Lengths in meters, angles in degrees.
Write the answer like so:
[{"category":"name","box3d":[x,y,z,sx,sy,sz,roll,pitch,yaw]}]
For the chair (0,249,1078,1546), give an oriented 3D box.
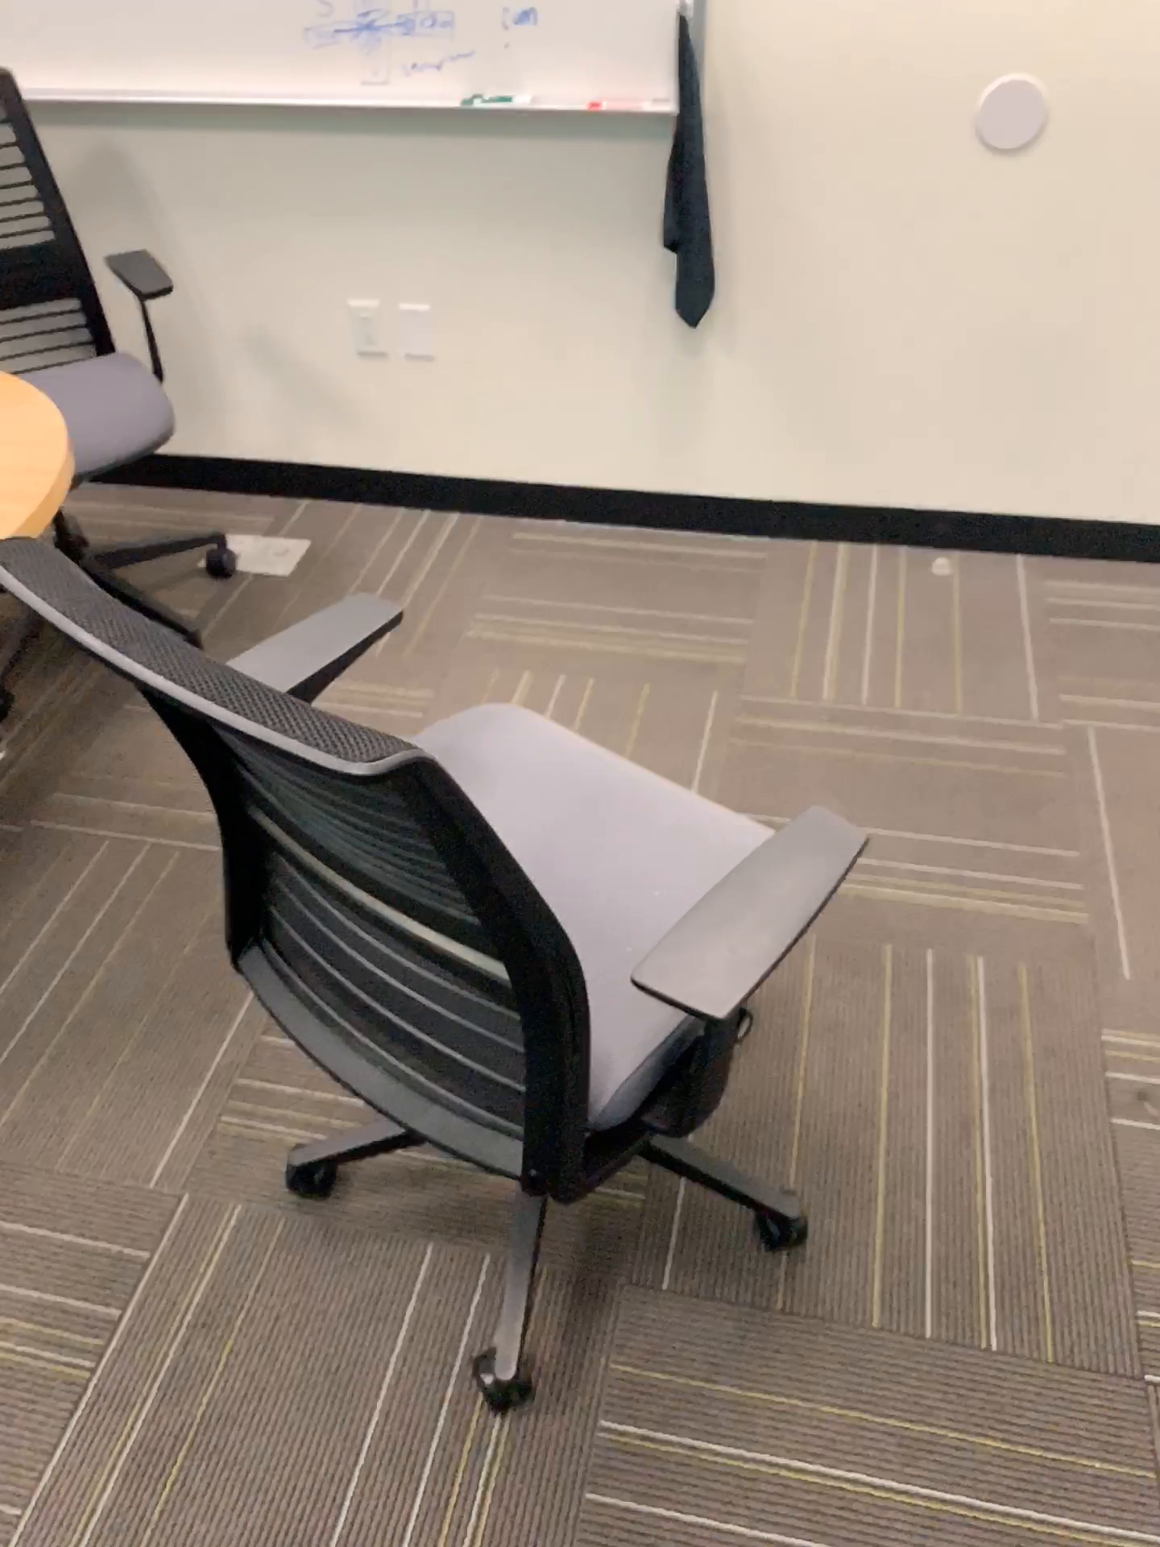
[{"category":"chair","box3d":[-0.063,0.131,1.240,0.653,0.994,0.691,28,50,31]}]
